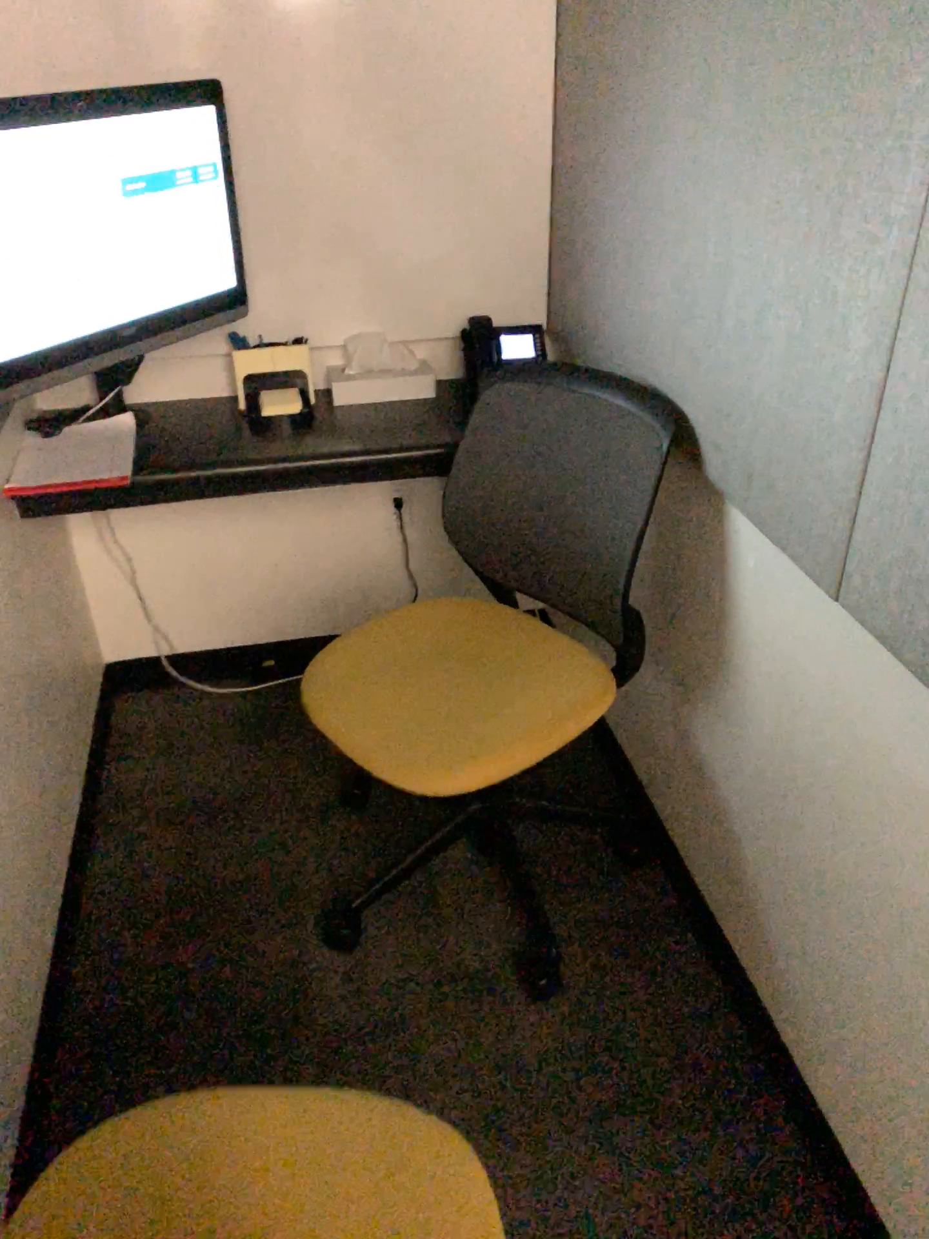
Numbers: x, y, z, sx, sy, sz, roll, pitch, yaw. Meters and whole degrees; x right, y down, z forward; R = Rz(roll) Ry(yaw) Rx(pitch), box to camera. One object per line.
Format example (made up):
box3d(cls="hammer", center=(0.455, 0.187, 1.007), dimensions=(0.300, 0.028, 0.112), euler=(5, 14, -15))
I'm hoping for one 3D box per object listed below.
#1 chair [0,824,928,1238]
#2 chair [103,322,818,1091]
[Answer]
box3d(cls="chair", center=(-0.120, 0.669, 0.640), dimensions=(0.550, 0.845, 0.573), euler=(2, 32, 5))
box3d(cls="chair", center=(0.012, 0.069, 2.017), dimensions=(0.924, 1.034, 0.952), euler=(25, 40, 34))
